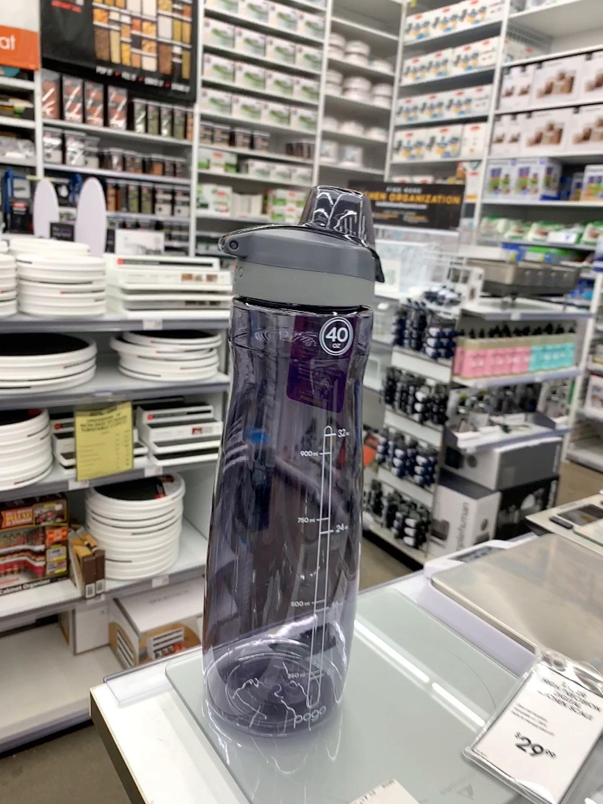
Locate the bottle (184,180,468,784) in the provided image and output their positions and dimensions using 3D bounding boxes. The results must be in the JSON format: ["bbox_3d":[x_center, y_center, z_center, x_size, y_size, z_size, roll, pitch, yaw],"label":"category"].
[{"bbox_3d":[0.001,0.040,0.361,0.100,0.309,0.100,4,15,-1],"label":"bottle"}]
